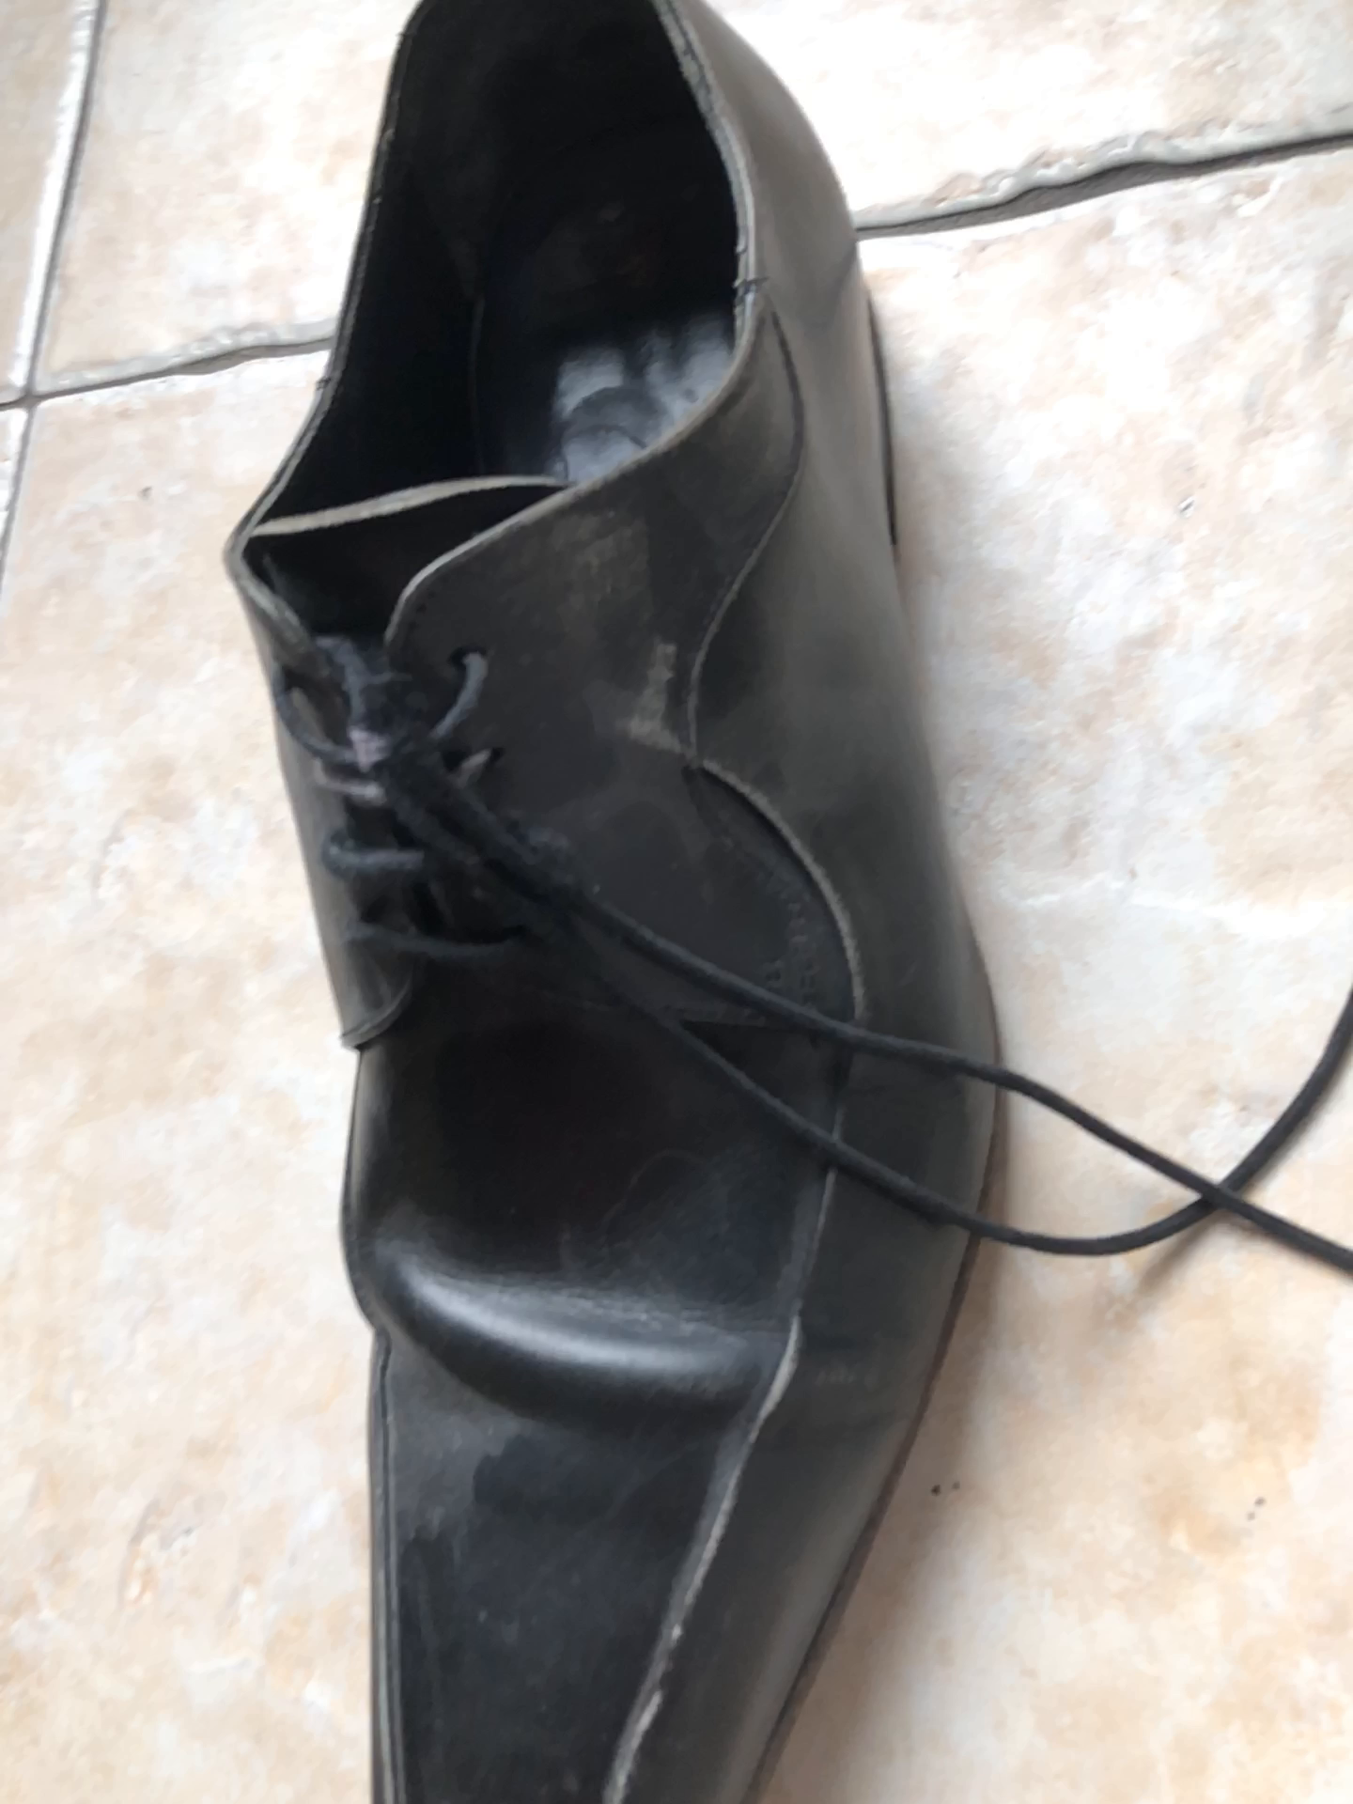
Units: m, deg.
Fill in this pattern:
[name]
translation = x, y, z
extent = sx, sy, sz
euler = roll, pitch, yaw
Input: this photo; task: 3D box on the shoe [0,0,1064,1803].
[shoe]
translation = -0.010, 0.001, 0.213
extent = 0.100, 0.090, 0.290
euler = 1, 76, 24
